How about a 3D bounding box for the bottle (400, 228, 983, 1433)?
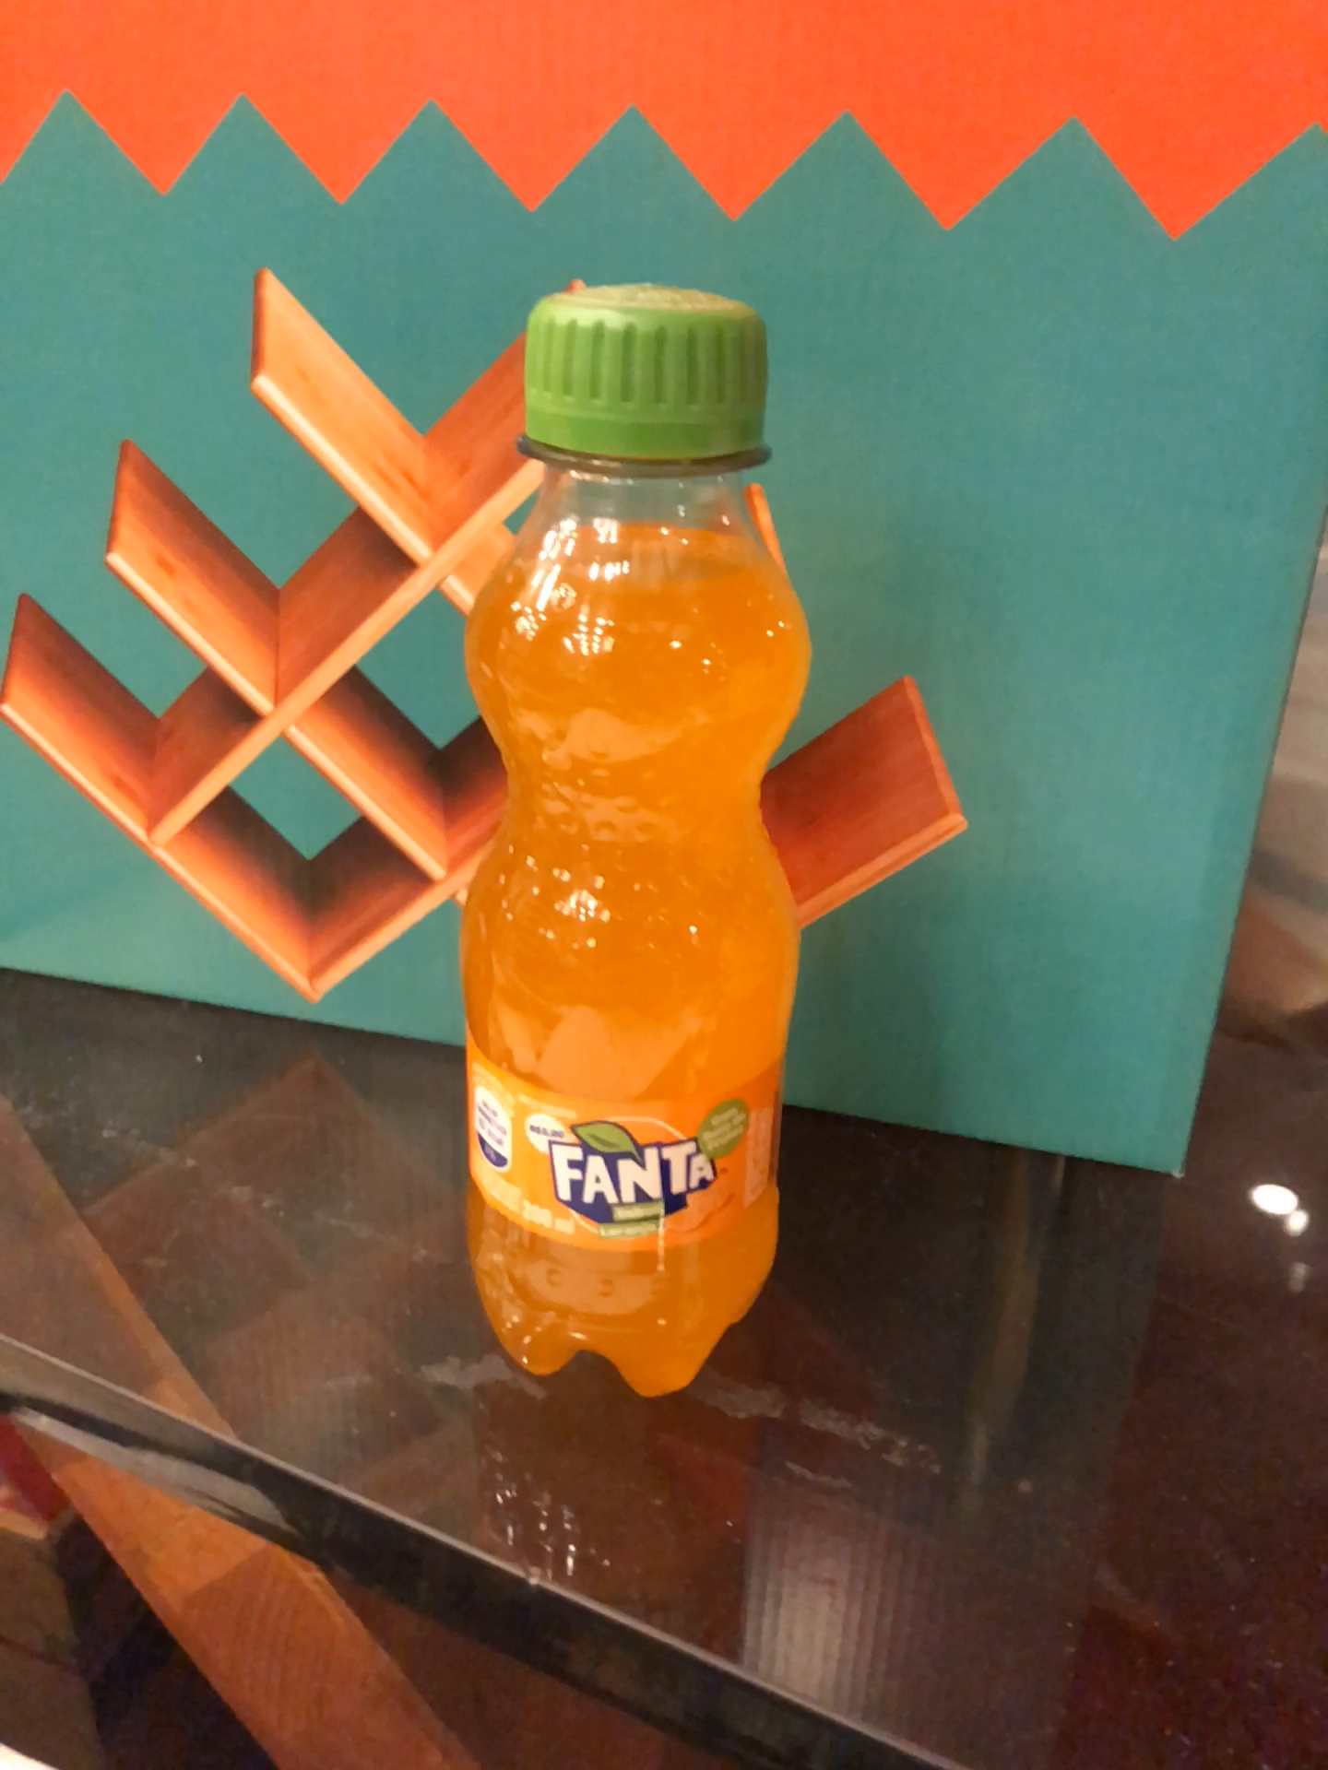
[{"bbox_3d":[0.003,-0.006,0.213,0.060,0.159,0.060,1,25,0],"label":"bottle"}]
